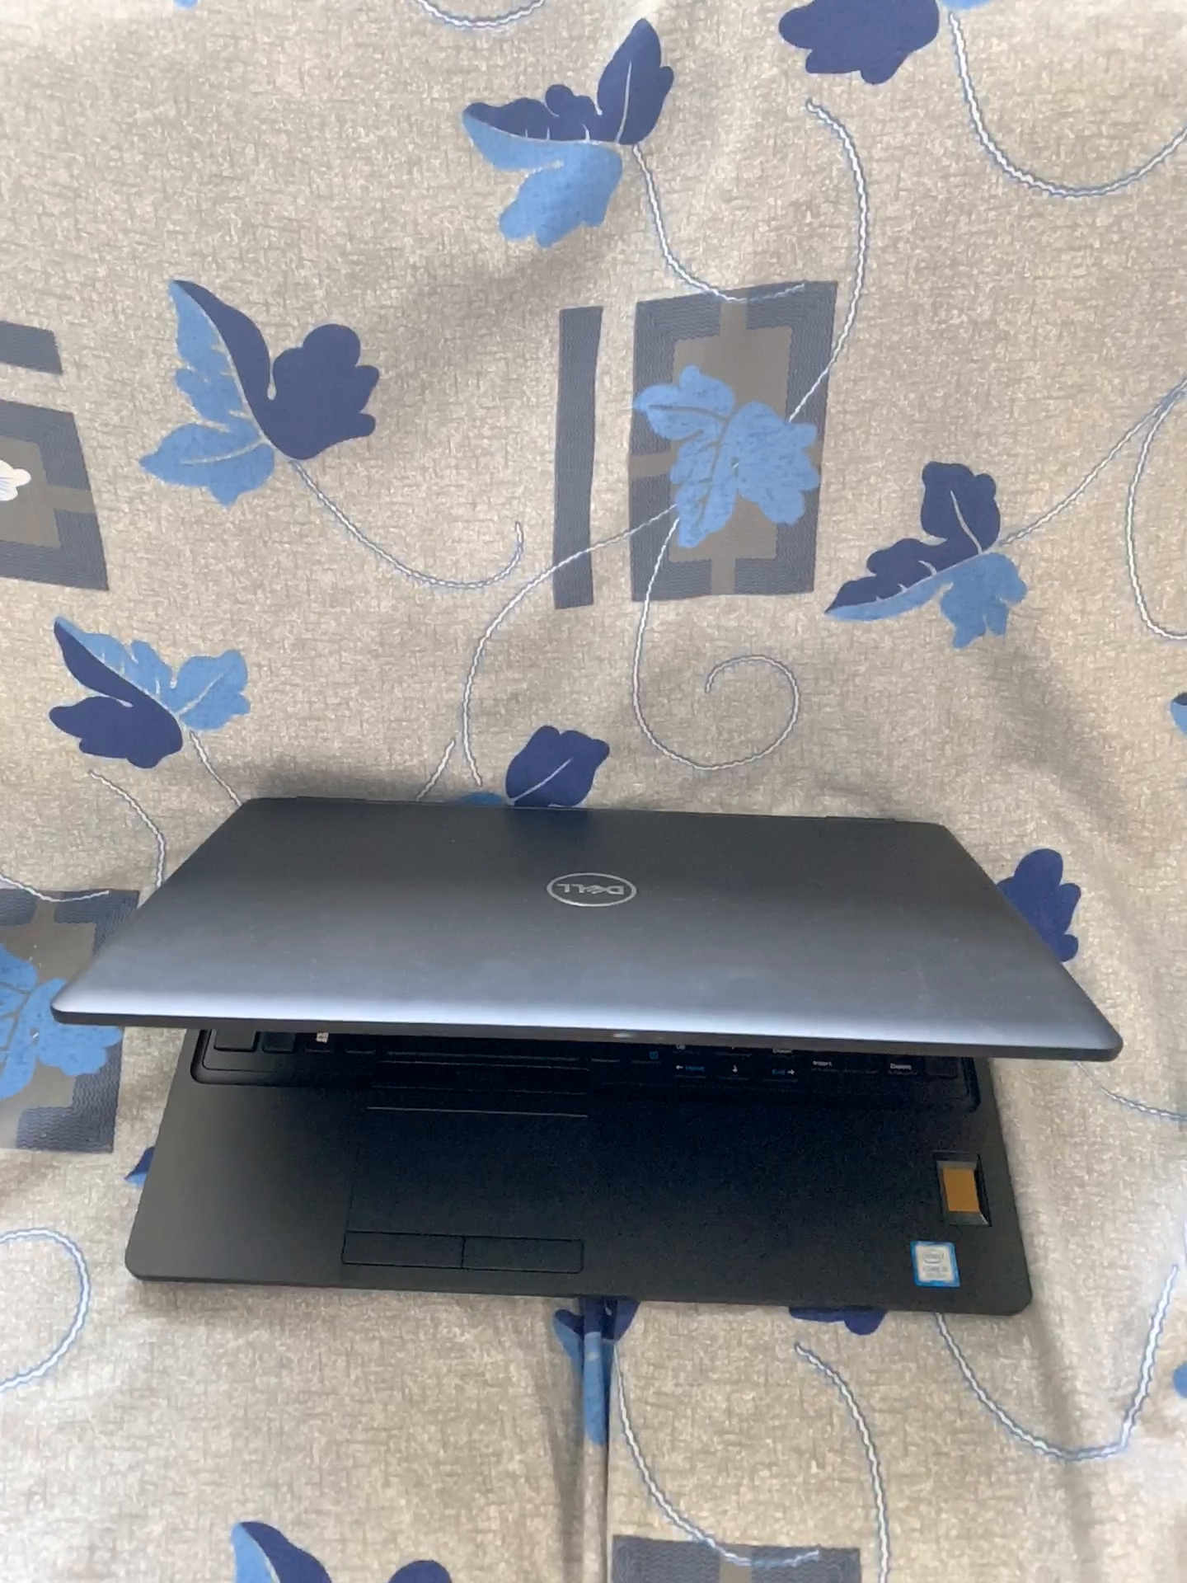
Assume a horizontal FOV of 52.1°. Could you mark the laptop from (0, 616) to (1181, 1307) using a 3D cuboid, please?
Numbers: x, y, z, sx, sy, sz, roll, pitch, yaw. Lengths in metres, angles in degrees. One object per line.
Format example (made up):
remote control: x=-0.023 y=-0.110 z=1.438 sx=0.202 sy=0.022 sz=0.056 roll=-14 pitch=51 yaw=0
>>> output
laptop: x=-0.001 y=0.066 z=0.510 sx=0.371 sy=0.142 sz=0.239 roll=2 pitch=52 yaw=1
